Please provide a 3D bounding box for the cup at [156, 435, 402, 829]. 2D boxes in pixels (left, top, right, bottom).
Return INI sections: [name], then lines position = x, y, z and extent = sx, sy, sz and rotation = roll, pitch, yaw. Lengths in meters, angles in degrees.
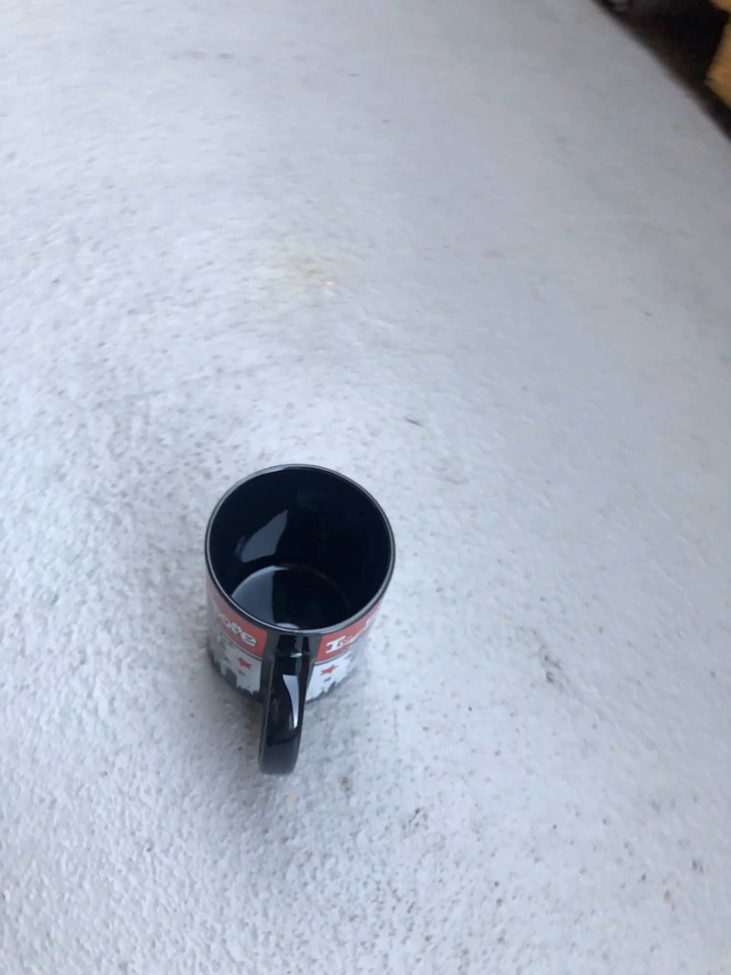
[cup]
position = -0.035, 0.067, 0.357
extent = 0.080, 0.110, 0.130
rotation = 7, 57, -5
